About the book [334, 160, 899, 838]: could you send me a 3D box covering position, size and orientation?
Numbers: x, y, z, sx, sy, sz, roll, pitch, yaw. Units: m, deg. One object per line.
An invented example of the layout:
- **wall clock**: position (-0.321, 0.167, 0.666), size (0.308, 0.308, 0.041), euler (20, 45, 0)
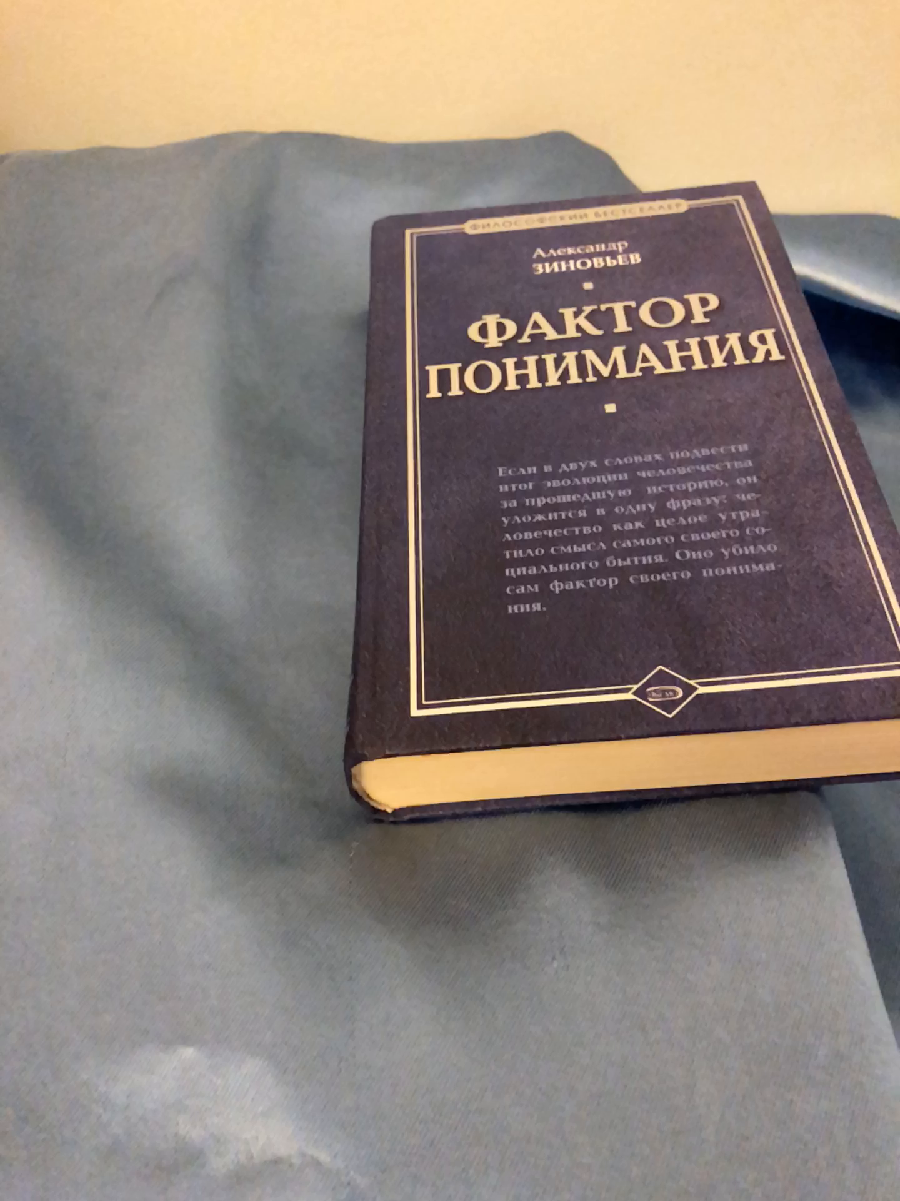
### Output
- **book**: position (0.044, -0.047, 0.294), size (0.140, 0.040, 0.221), euler (-6, 51, 4)
